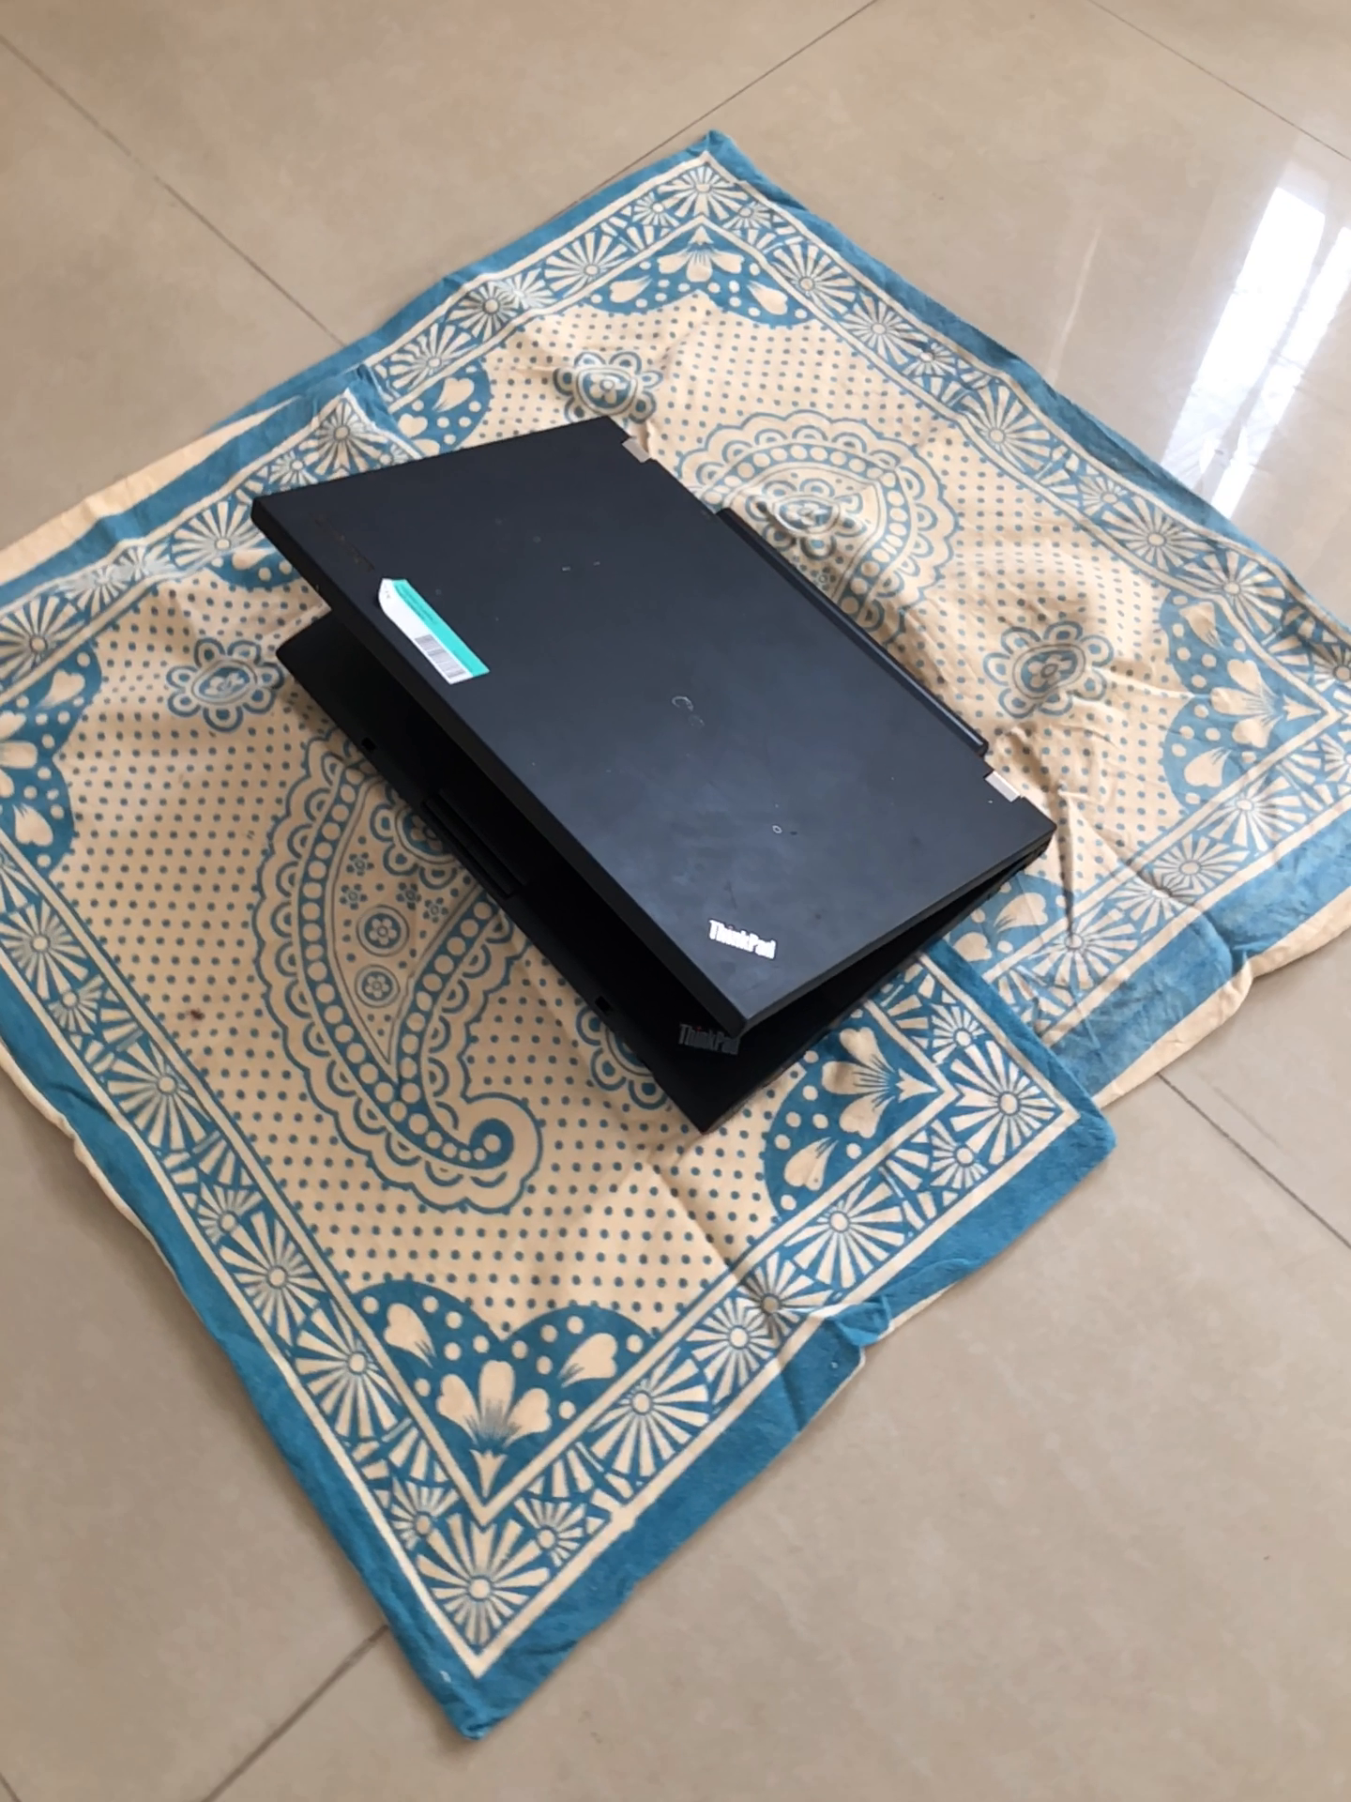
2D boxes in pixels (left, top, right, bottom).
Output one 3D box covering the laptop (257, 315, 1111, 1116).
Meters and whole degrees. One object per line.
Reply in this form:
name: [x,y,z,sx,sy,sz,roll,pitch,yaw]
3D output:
laptop: [-0.006,-0.108,0.751,0.241,0.125,0.348,-35,65,-16]
